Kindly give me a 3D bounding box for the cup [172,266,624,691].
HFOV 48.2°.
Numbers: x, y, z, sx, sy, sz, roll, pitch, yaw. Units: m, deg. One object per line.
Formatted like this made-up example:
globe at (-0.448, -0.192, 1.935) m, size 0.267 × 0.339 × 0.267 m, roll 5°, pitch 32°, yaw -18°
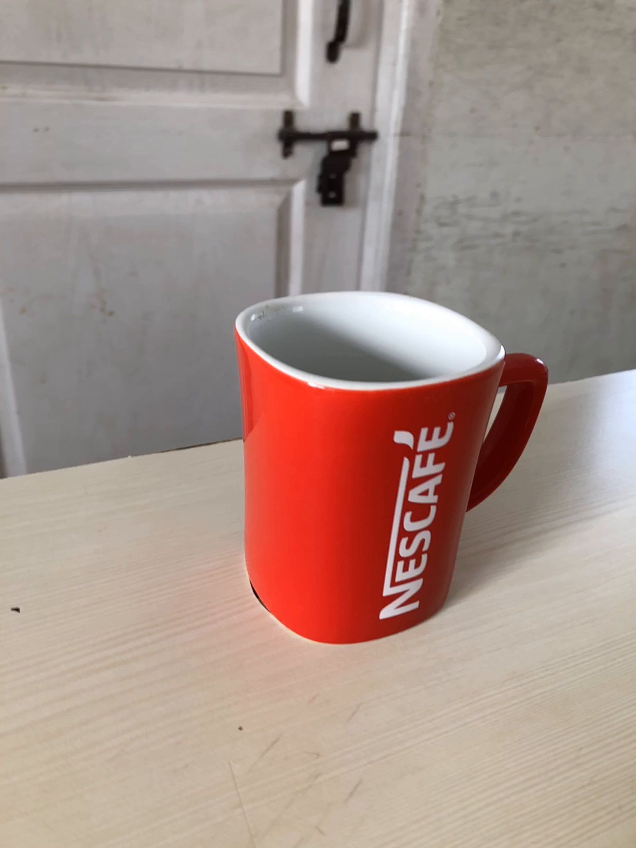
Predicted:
cup at (0.020, 0.007, 0.234) m, size 0.110 × 0.089 × 0.080 m, roll -12°, pitch 31°, yaw -27°
